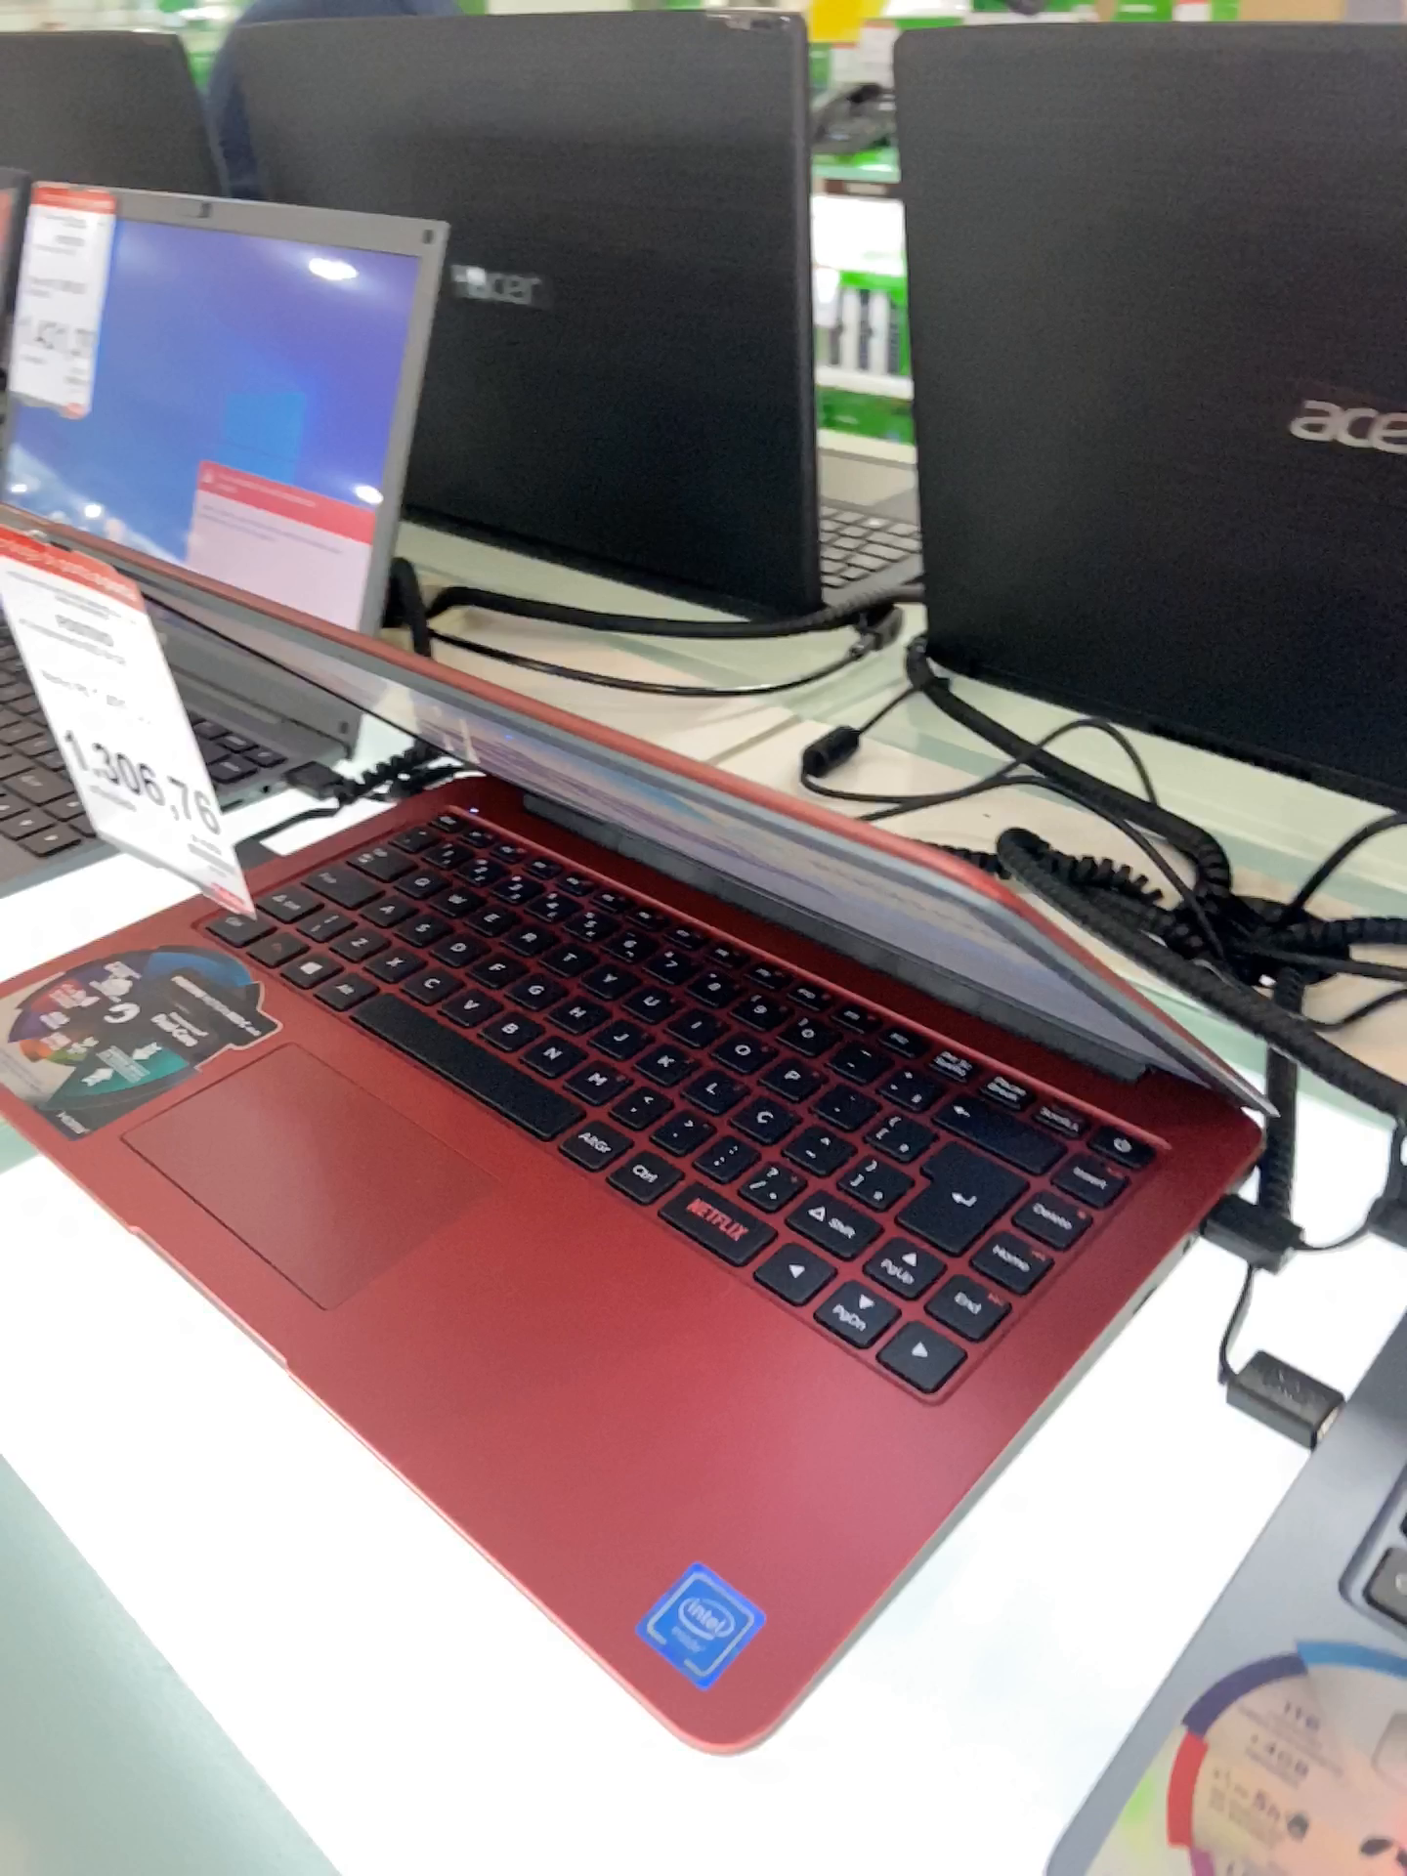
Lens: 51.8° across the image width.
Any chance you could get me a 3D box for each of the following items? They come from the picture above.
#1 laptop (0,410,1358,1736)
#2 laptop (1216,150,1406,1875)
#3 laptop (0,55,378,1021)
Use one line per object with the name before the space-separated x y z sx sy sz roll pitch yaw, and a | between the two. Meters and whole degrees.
laptop | -0.045 -0.022 0.375 0.321 0.144 0.212 25 41 36
laptop | 0.287 0.075 0.146 0.385 0.207 0.278 24 43 32
laptop | -0.299 -0.191 0.561 0.235 0.159 0.287 27 43 20
